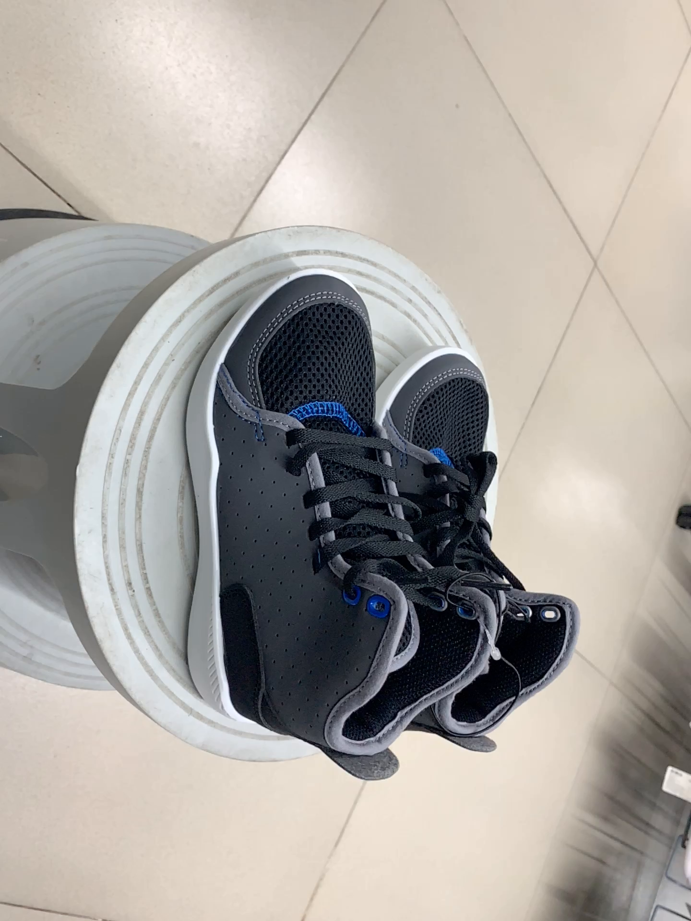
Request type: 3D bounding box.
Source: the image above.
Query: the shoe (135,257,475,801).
[{"bbox_3d":[-0.021,0.025,0.326,0.090,0.100,0.200,6,91,-42],"label":"shoe"}]

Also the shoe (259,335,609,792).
[{"bbox_3d":[0.044,0.045,0.376,0.080,0.119,0.200,18,83,-41],"label":"shoe"}]
